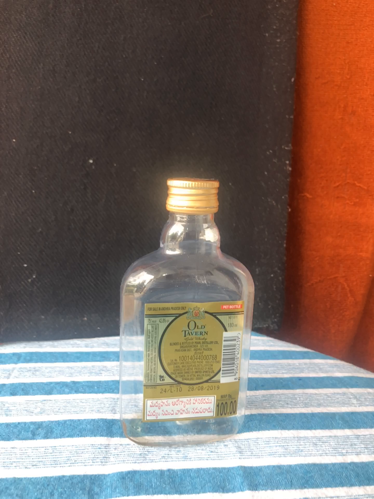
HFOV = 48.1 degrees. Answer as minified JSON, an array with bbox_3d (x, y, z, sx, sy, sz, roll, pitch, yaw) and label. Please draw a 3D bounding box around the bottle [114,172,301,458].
[{"bbox_3d":[0.005,0.034,0.222,0.080,0.140,0.040,2,14,-11],"label":"bottle"}]
